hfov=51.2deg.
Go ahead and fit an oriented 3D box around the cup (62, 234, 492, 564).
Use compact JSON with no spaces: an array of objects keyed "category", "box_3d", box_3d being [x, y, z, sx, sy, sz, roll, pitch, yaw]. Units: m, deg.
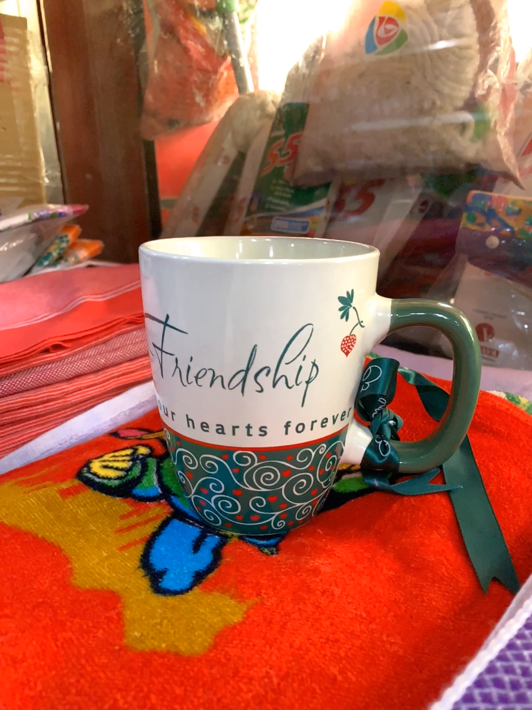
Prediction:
[{"category":"cup","box_3d":[0.009,0.004,0.228,0.132,0.094,0.101,3,18,12]}]
